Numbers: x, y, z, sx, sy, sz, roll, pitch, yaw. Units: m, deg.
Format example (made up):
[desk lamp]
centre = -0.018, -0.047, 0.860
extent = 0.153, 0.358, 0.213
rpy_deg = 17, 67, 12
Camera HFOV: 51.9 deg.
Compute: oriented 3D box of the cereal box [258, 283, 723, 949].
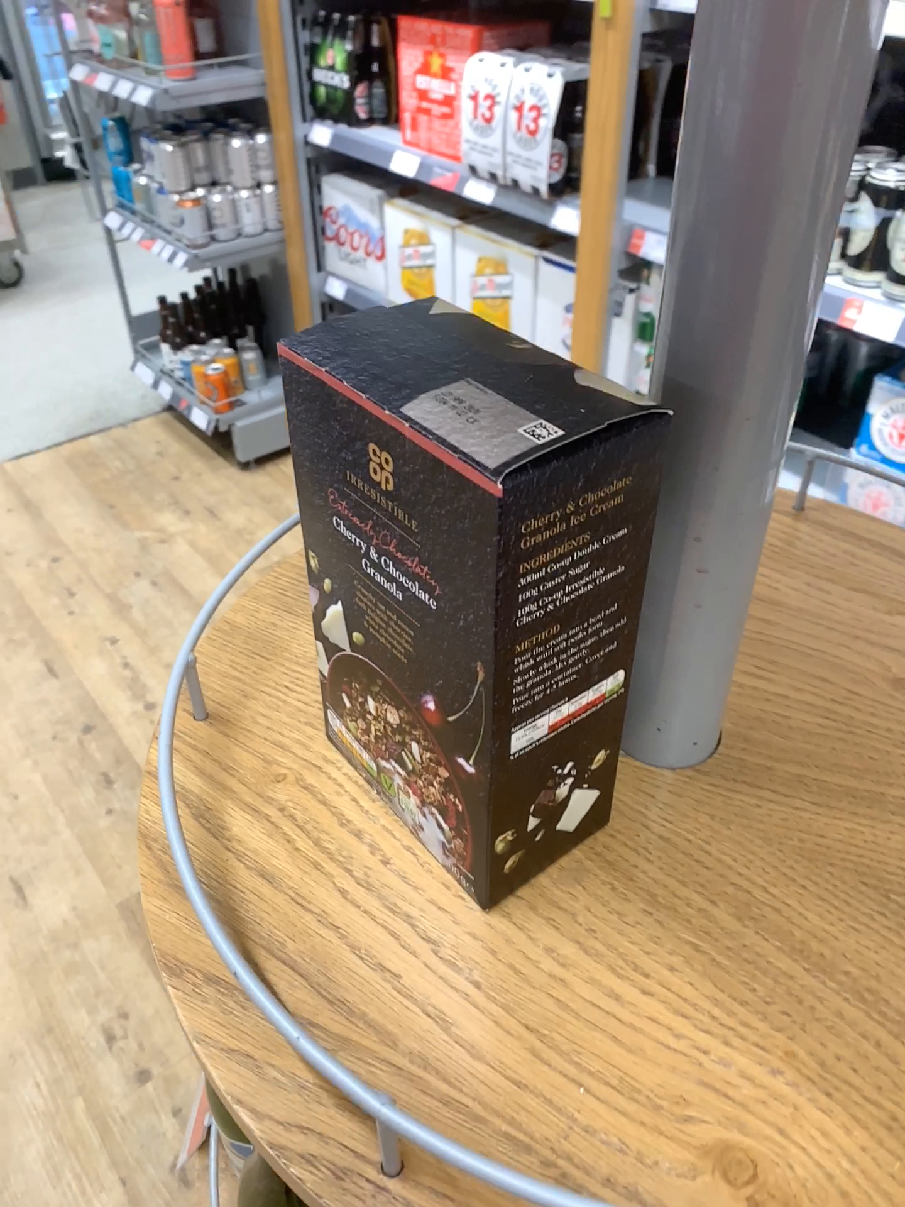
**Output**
[cereal box]
centre = 0.009, 0.006, 0.385
extent = 0.090, 0.218, 0.141
rpy_deg = -26, 45, -28
